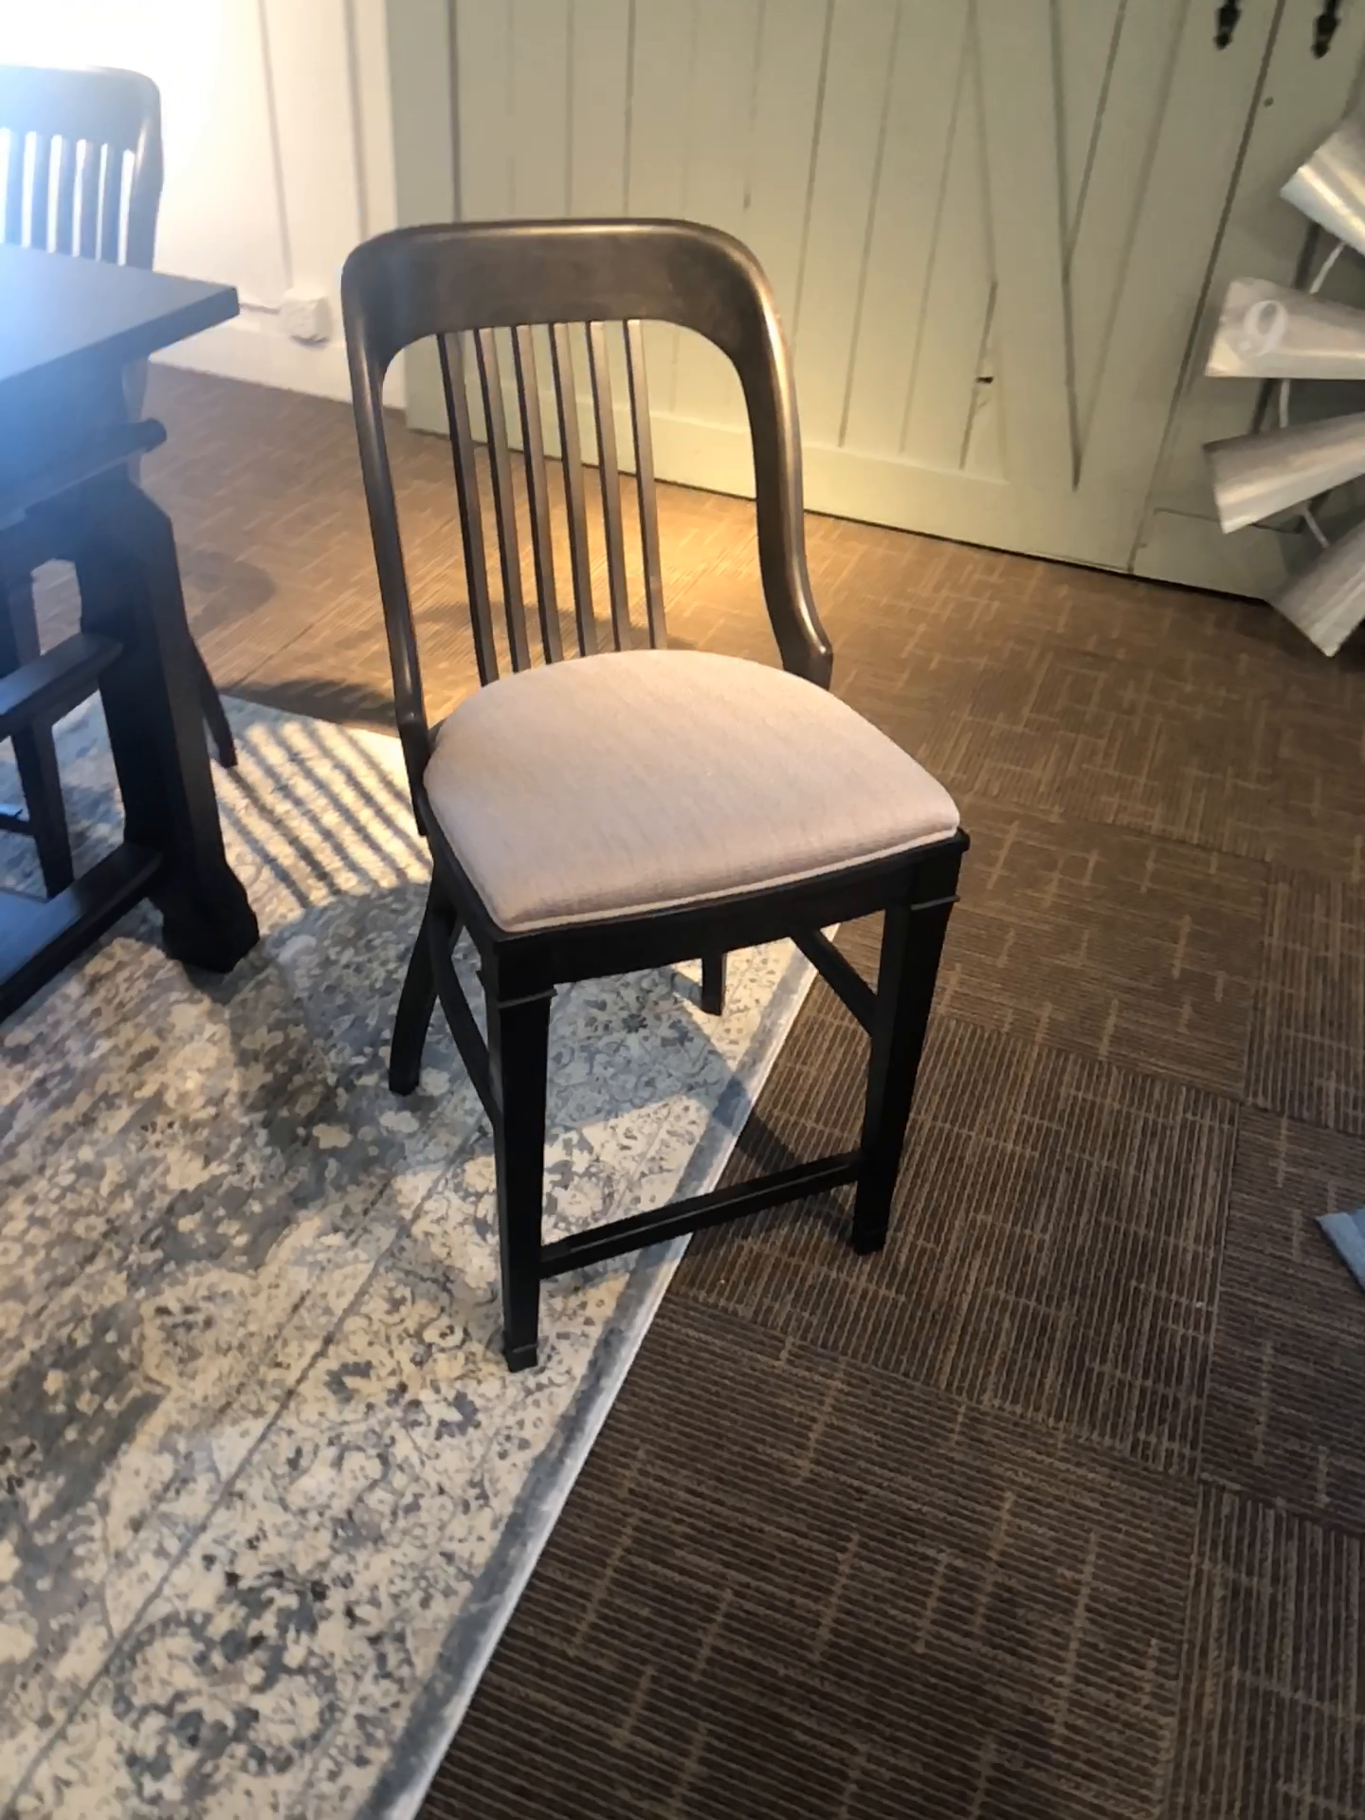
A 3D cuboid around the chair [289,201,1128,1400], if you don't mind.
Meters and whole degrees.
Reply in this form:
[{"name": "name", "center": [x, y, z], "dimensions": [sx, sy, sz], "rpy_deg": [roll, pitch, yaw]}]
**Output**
[{"name": "chair", "center": [-0.037, -0.111, 1.516], "dimensions": [0.481, 0.985, 0.572], "rpy_deg": [-14, 41, -23]}]
